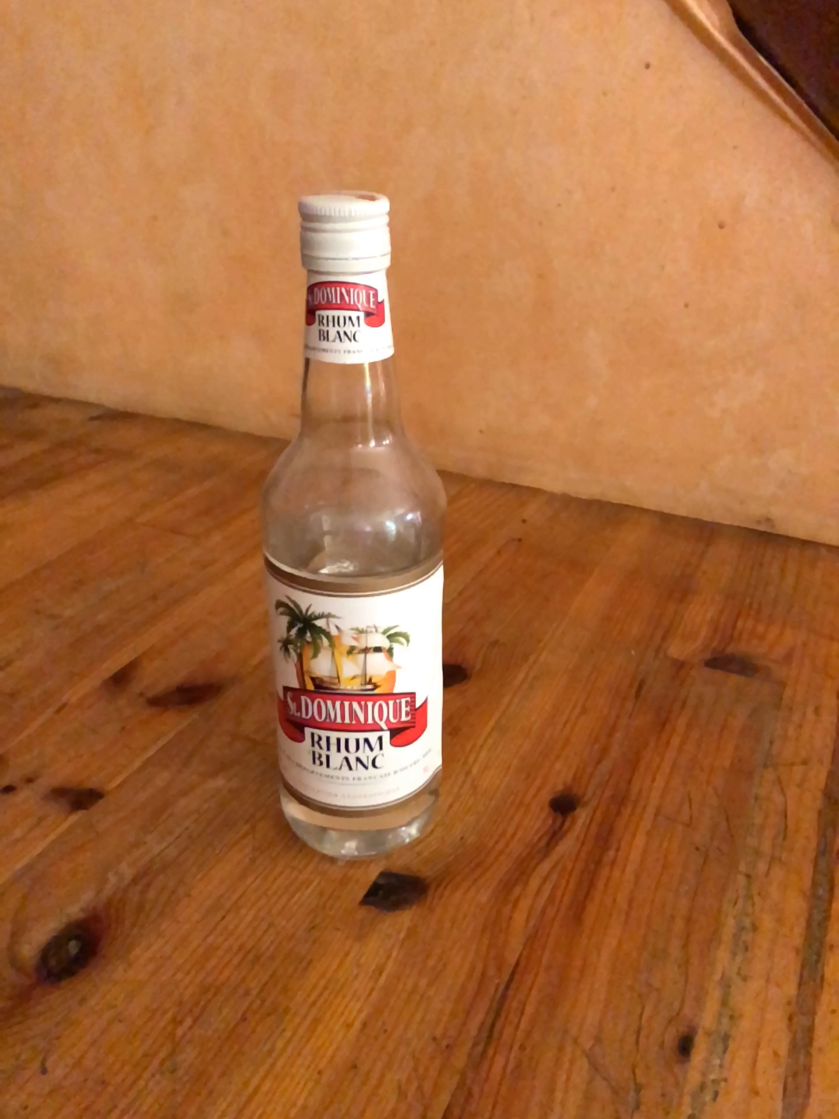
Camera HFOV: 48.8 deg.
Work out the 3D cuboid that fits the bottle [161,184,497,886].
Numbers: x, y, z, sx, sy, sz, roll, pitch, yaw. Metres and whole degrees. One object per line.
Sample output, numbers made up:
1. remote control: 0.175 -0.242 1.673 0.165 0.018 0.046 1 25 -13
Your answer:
1. bottle: -0.025 -0.004 0.365 0.090 0.259 0.081 6 28 12
